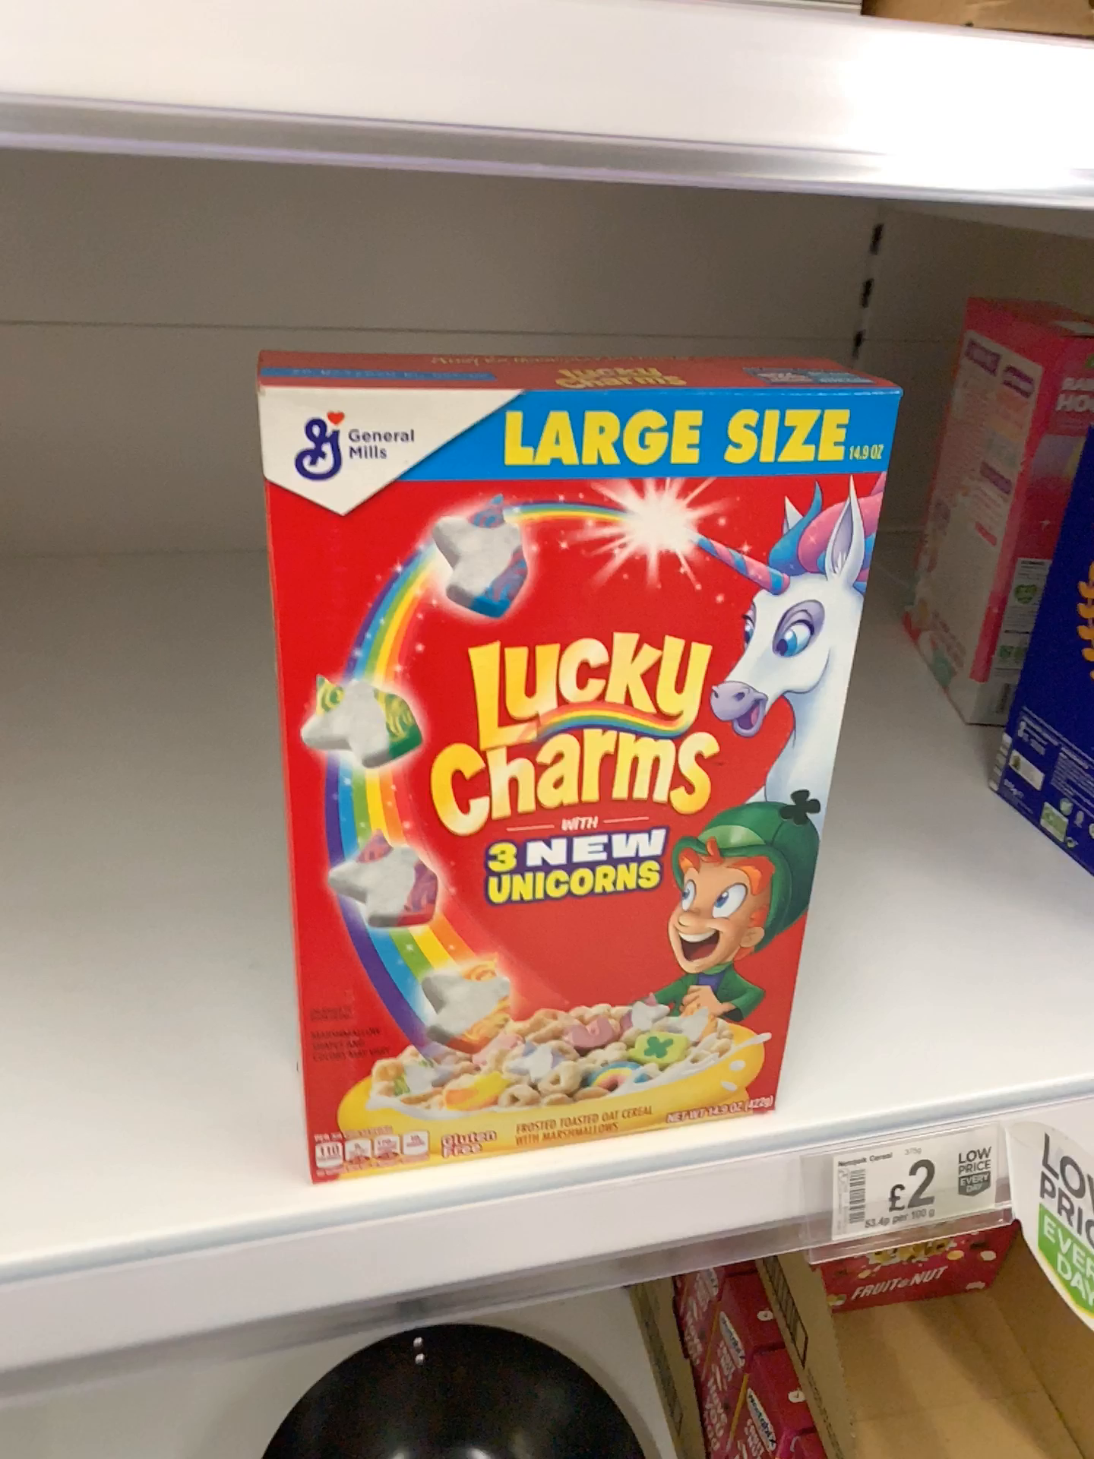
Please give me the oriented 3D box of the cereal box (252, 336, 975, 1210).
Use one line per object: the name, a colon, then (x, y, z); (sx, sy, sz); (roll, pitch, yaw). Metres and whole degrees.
cereal box: (0.011, 0.021, 0.408); (0.210, 0.297, 0.071); (-4, 27, -15)
